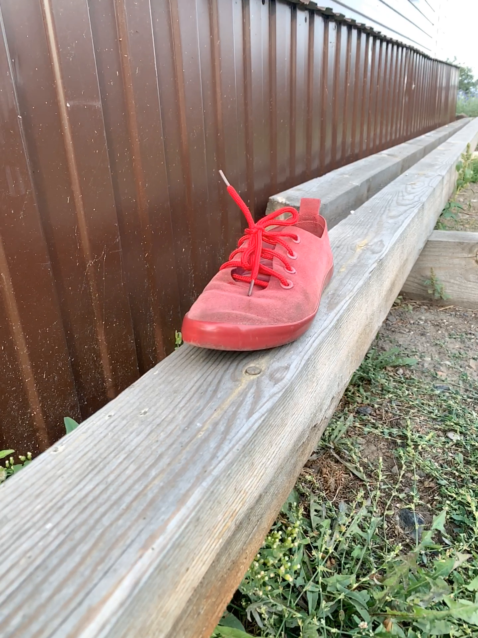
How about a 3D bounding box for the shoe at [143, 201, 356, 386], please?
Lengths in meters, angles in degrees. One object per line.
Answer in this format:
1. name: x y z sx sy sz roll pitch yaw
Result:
1. shoe: 0.029 -0.042 0.418 0.100 0.069 0.242 6 25 20
